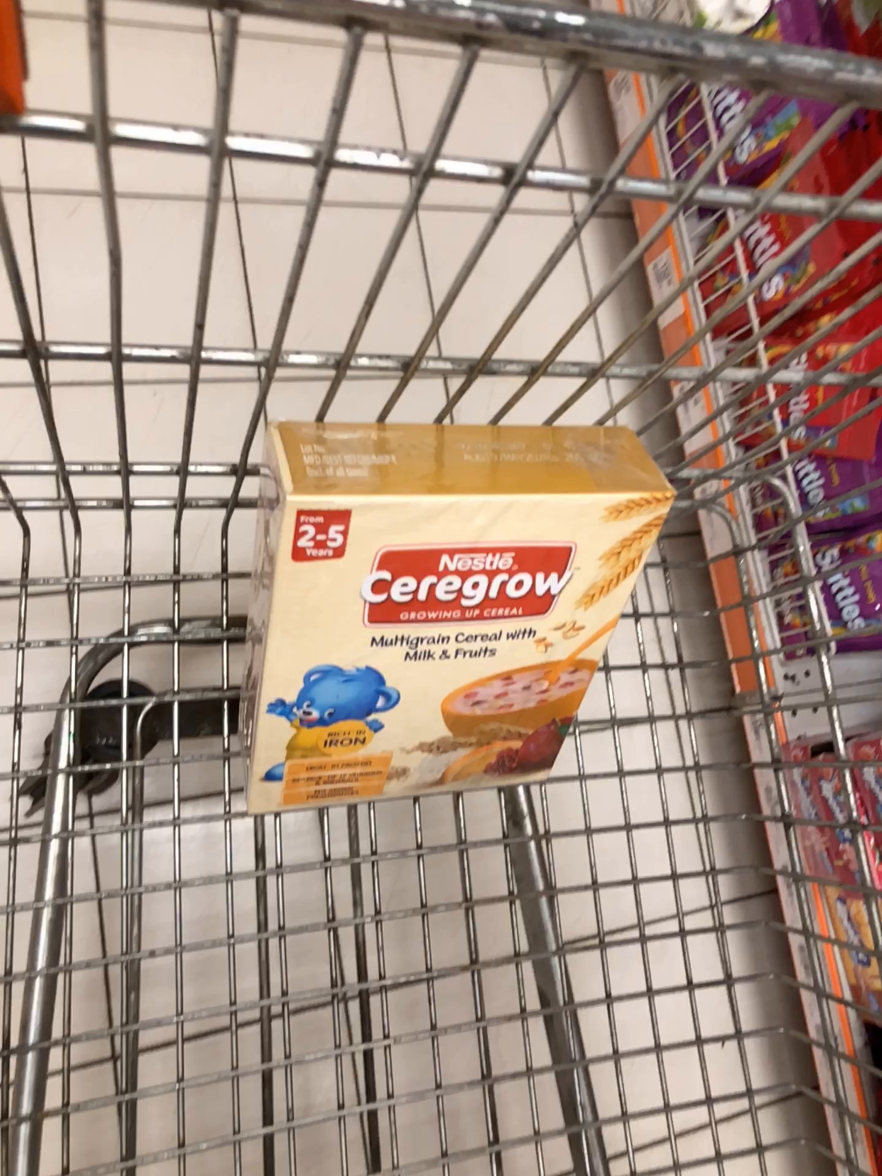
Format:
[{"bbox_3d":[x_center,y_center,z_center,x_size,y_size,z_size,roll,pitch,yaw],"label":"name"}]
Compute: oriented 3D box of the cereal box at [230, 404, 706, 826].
[{"bbox_3d":[-0.001,0.017,0.418,0.160,0.189,0.050,-3,44,-20],"label":"cereal box"}]
